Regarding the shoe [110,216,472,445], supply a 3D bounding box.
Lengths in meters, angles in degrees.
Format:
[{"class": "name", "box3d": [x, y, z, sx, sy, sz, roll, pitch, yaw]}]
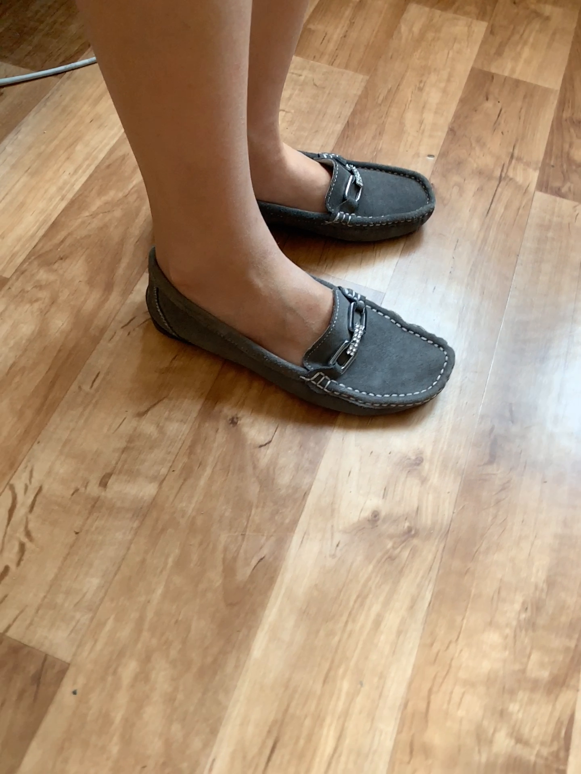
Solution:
[{"class": "shoe", "box3d": [0.001, -0.044, 0.449, 0.240, 0.060, 0.090, 17, 65, 6]}]

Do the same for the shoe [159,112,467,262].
[{"class": "shoe", "box3d": [0.014, -0.174, 0.513, 0.240, 0.060, 0.100, -5, 61, -6]}]
